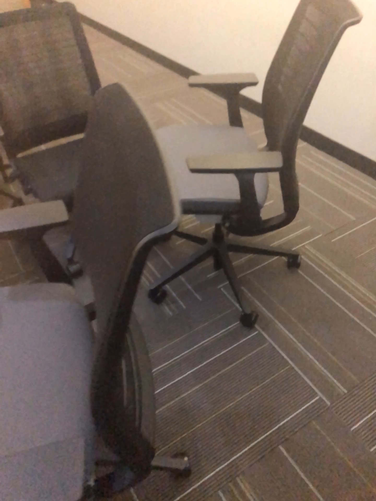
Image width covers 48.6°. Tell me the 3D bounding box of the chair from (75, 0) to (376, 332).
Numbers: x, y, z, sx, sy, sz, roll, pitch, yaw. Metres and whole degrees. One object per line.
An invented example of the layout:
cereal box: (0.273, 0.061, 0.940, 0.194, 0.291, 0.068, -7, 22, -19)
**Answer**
chair: (0.132, -0.320, 1.457, 0.710, 0.962, 0.726, -2, 41, 1)

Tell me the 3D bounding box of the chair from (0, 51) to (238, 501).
chair: (-0.378, 0.264, 0.817, 0.721, 0.962, 0.735, -10, 42, -8)
